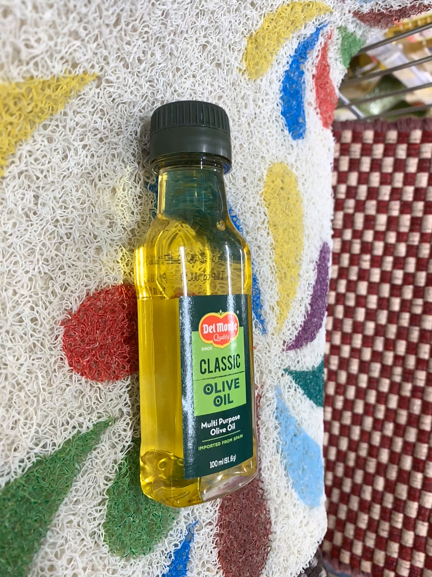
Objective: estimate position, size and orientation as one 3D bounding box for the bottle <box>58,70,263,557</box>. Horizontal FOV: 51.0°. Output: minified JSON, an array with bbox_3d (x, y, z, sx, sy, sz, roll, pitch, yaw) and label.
[{"bbox_3d":[-0.017,0.007,0.153,0.050,0.040,0.130,1,92,-51],"label":"bottle"}]
